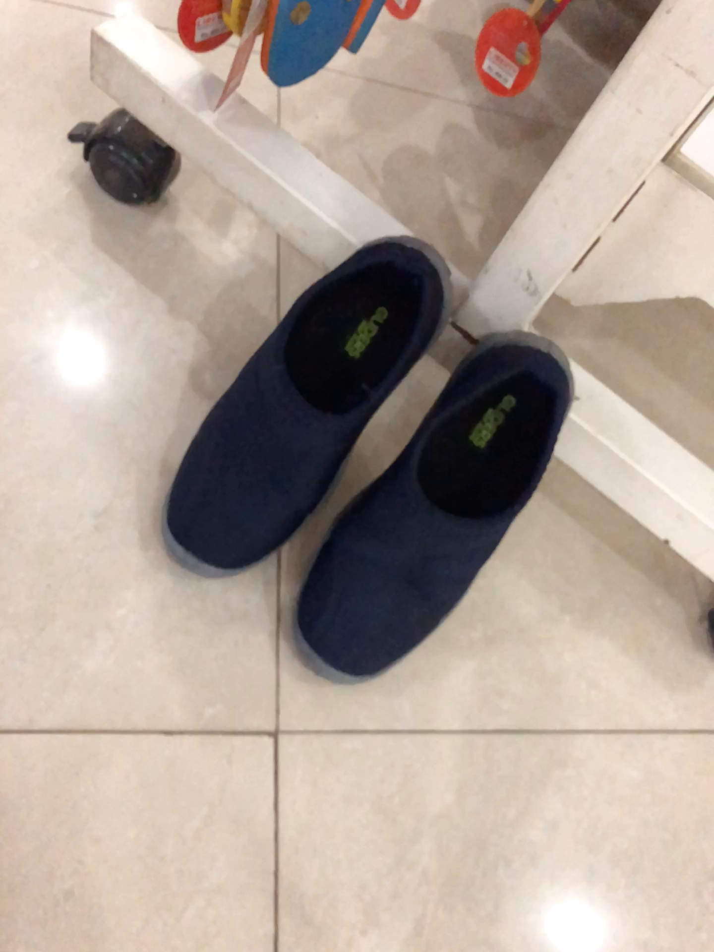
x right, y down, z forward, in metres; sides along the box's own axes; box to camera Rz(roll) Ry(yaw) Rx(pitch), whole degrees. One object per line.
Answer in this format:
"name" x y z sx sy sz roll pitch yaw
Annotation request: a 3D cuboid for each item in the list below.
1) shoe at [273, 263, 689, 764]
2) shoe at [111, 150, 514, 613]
"shoe" 0.131 0.041 0.912 0.186 0.208 0.489 34 83 5
"shoe" -0.043 -0.092 0.893 0.160 0.200 0.460 36 85 1
